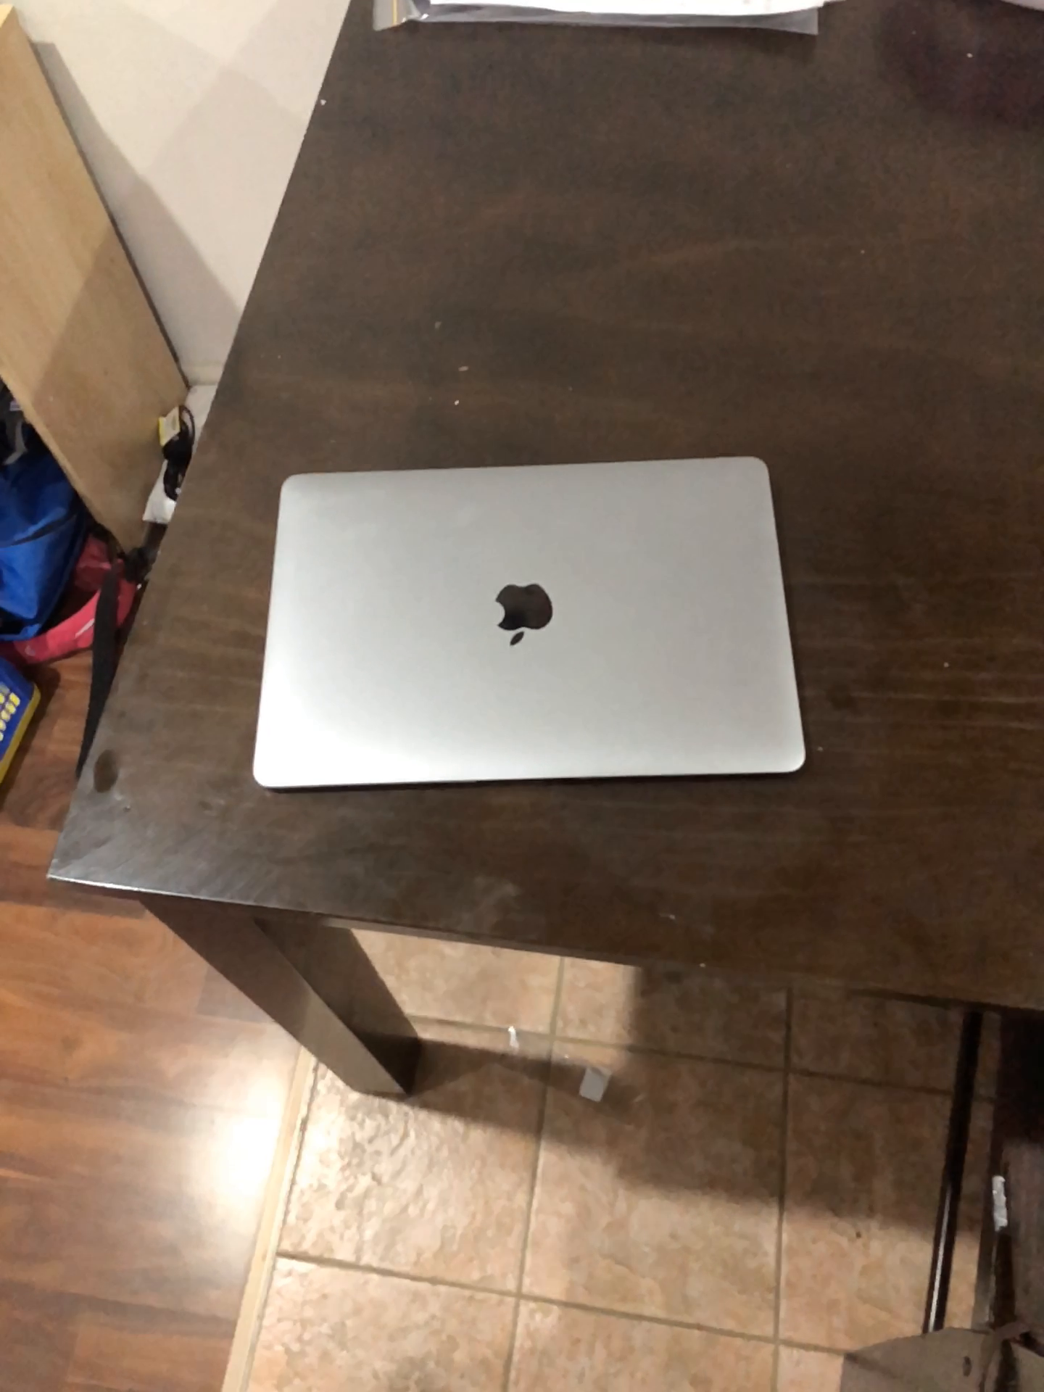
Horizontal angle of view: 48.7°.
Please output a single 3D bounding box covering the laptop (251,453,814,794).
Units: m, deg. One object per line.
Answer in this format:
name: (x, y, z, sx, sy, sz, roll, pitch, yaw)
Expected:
laptop: (0.004, -0.045, 0.609, 0.275, 0.002, 0.196, -2, 62, 0)
